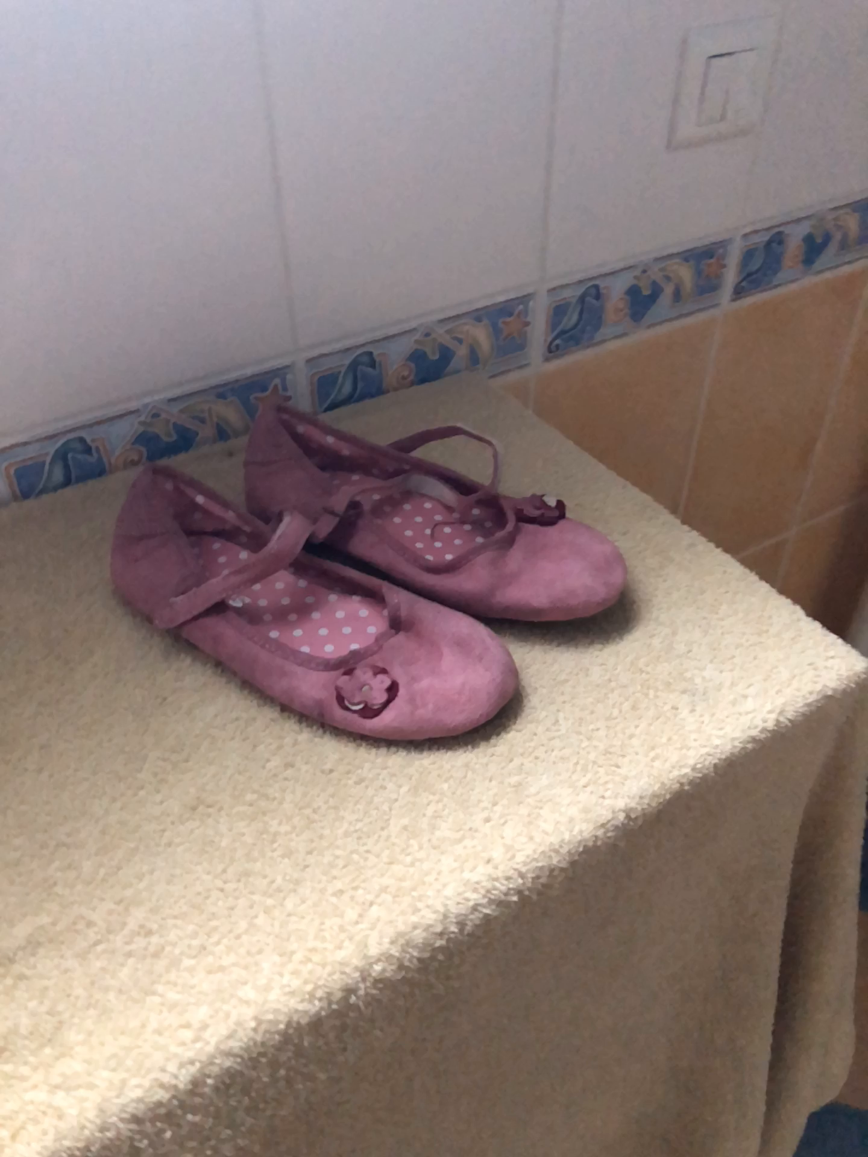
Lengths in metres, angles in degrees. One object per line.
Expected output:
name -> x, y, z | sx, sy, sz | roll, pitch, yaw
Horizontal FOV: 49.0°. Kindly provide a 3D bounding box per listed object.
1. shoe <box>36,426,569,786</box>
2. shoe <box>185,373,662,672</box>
shoe -> -0.066, 0.001, 0.468 | 0.240, 0.050, 0.101 | 21, 45, 23
shoe -> -0.009, -0.041, 0.530 | 0.240, 0.050, 0.101 | 21, 45, 23
